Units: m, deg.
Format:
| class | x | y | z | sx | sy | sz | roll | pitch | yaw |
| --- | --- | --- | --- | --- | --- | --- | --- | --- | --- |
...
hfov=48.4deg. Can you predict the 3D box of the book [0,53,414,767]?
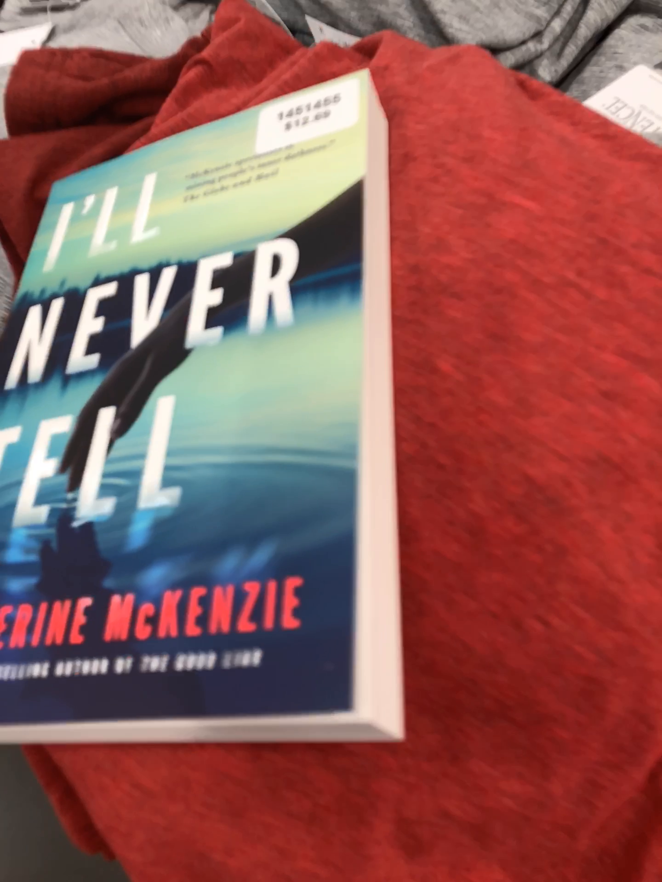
| class | x | y | z | sx | sy | sz | roll | pitch | yaw |
| --- | --- | --- | --- | --- | --- | --- | --- | --- | --- |
| book | -0.051 | -0.016 | 0.224 | 0.144 | 0.032 | 0.208 | -10 | 57 | 20 |
